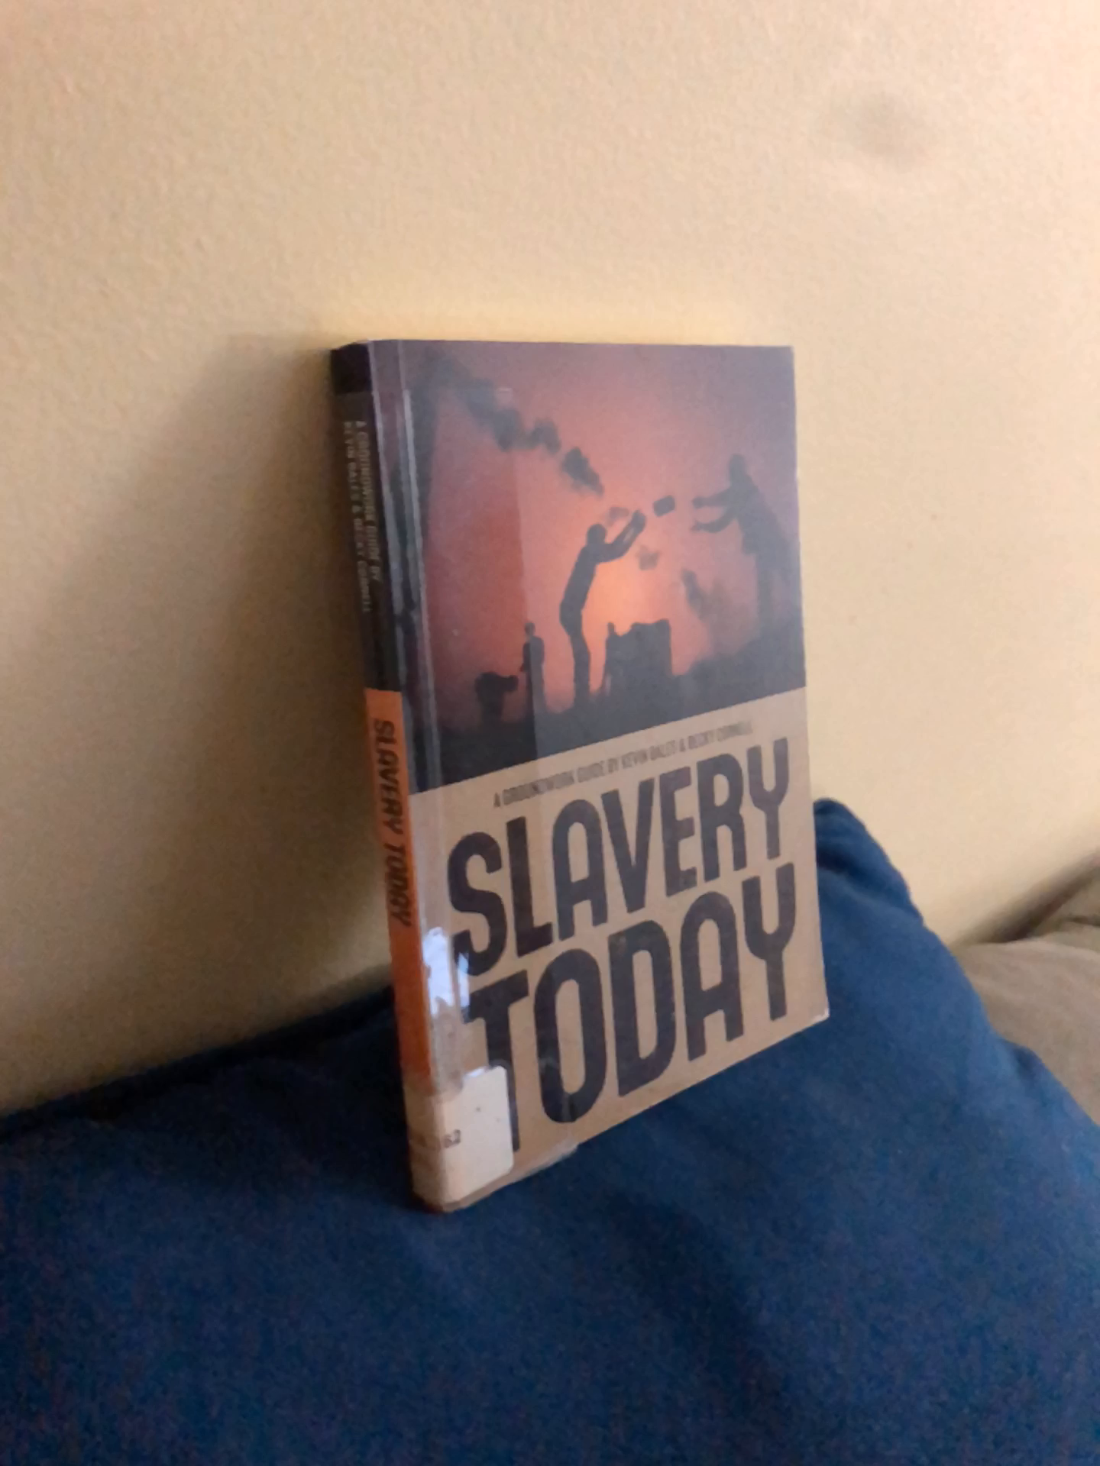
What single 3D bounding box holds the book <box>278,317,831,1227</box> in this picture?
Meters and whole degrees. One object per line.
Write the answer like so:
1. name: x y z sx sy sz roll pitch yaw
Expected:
1. book: 0.011 0.001 0.290 0.128 0.182 0.028 -14 14 -39
